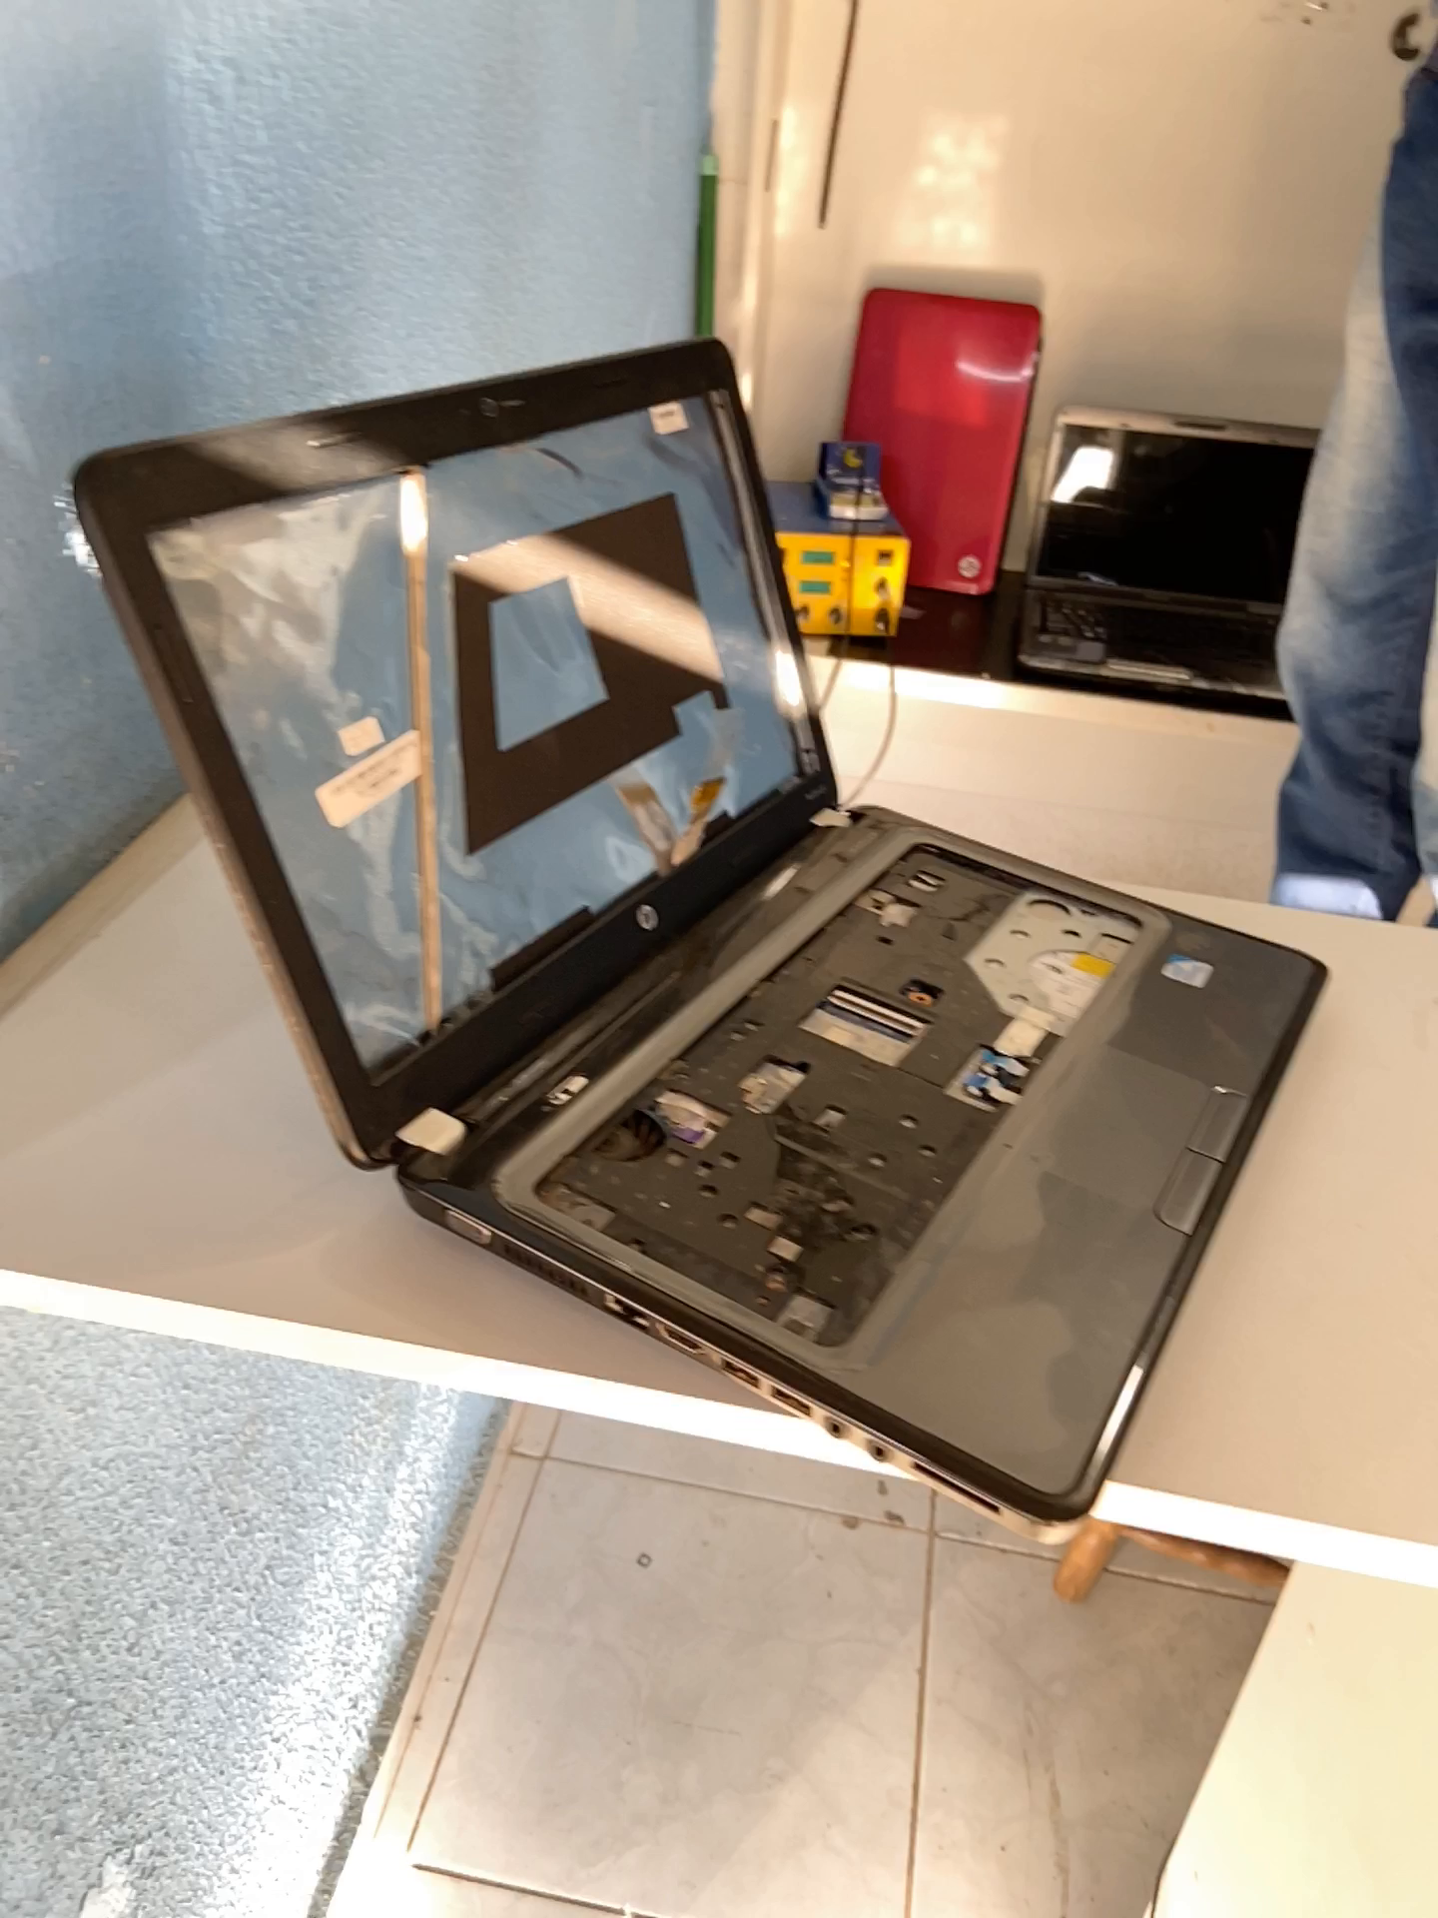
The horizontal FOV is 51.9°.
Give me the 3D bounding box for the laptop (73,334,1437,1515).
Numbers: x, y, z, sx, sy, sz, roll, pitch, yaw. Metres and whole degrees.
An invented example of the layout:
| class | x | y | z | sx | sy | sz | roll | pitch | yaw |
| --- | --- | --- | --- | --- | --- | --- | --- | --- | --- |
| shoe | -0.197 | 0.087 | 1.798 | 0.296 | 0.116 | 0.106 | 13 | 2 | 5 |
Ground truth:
| class | x | y | z | sx | sy | sz | roll | pitch | yaw |
| --- | --- | --- | --- | --- | --- | --- | --- | --- | --- |
| laptop | 0.040 | -0.069 | 0.518 | 0.323 | 0.194 | 0.337 | 21 | 35 | 24 |
